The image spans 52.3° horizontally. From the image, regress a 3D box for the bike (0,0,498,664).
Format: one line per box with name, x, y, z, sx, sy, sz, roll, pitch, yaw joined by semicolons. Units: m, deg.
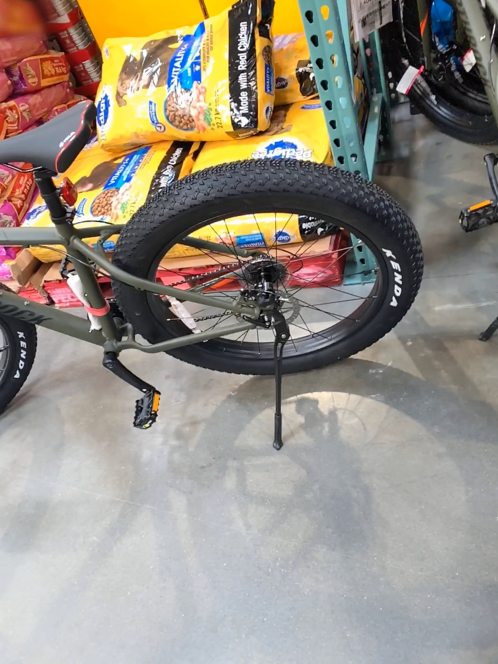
bike;-0.379;0.013;0.910;1.712;1.203;0.595;-19;42;-5
